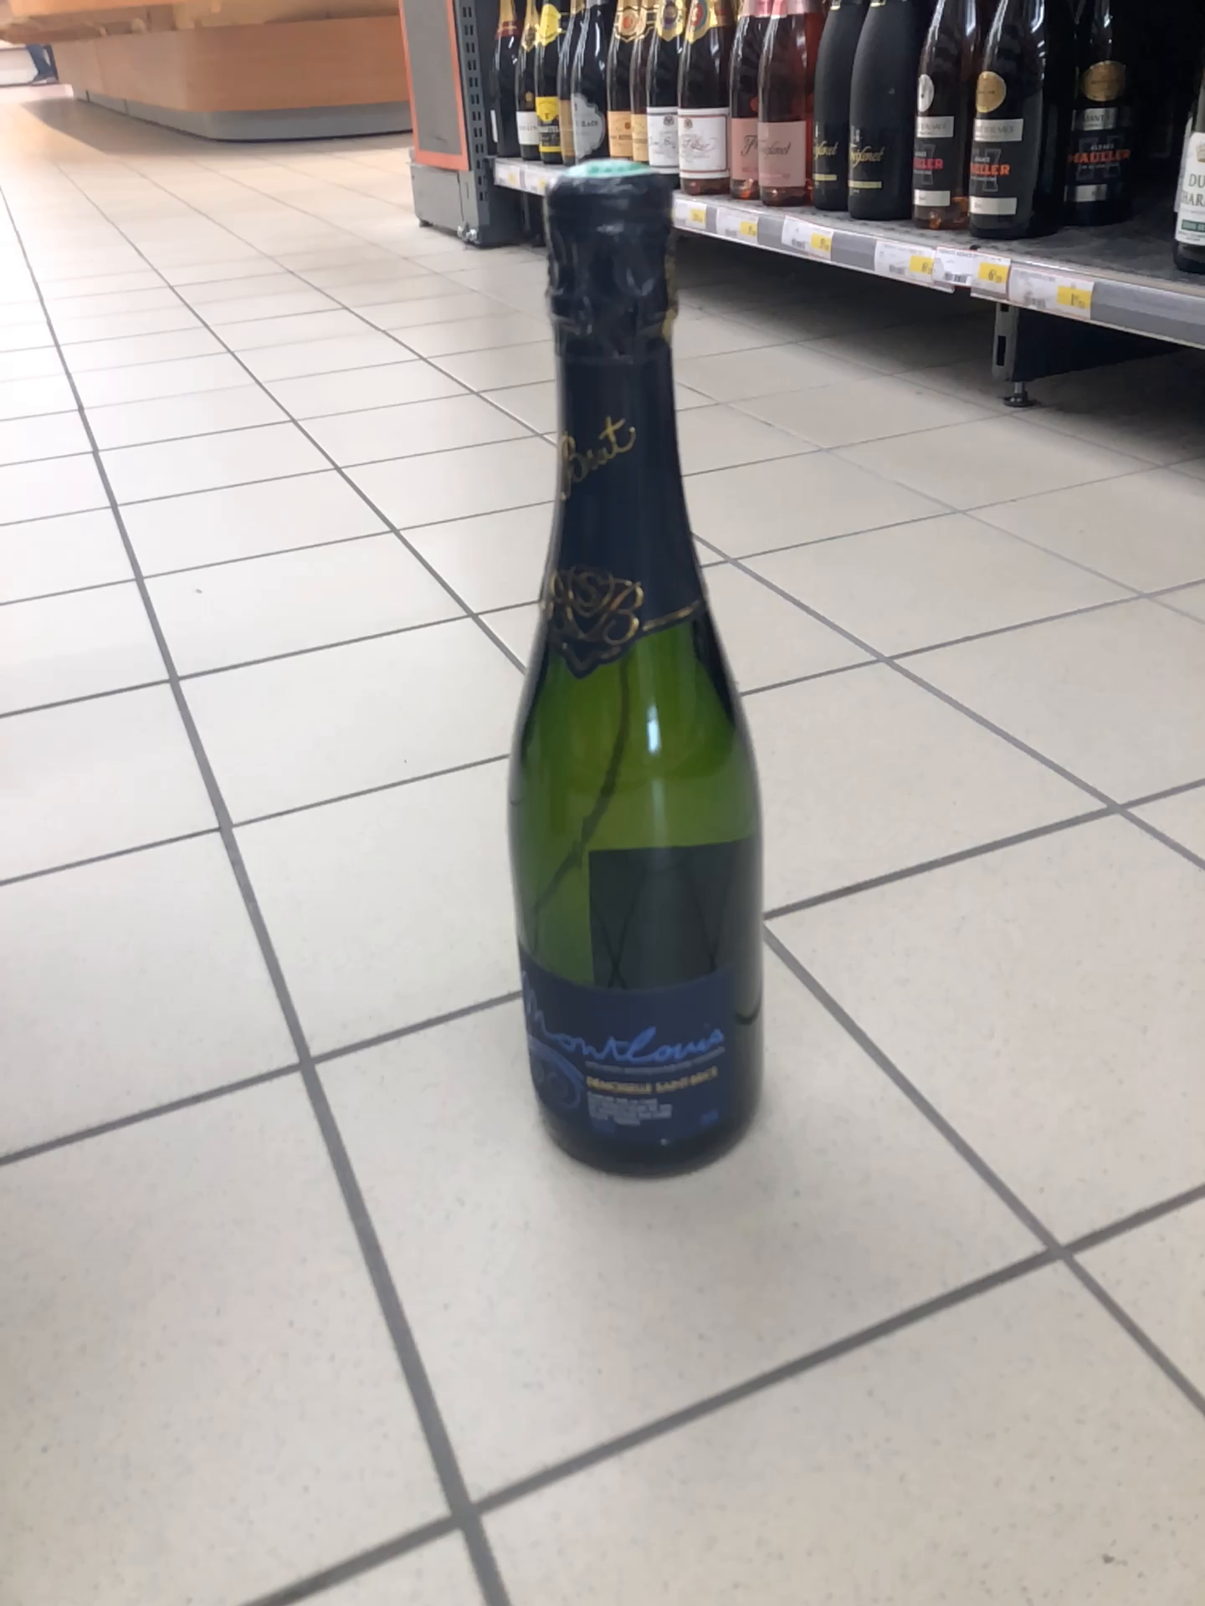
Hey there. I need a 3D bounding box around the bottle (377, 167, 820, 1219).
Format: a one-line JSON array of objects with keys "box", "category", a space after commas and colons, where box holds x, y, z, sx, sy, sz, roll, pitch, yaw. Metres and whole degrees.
[{"box": [0.012, -0.023, 0.412, 0.090, 0.308, 0.091, -3, 29, 2], "category": "bottle"}]
